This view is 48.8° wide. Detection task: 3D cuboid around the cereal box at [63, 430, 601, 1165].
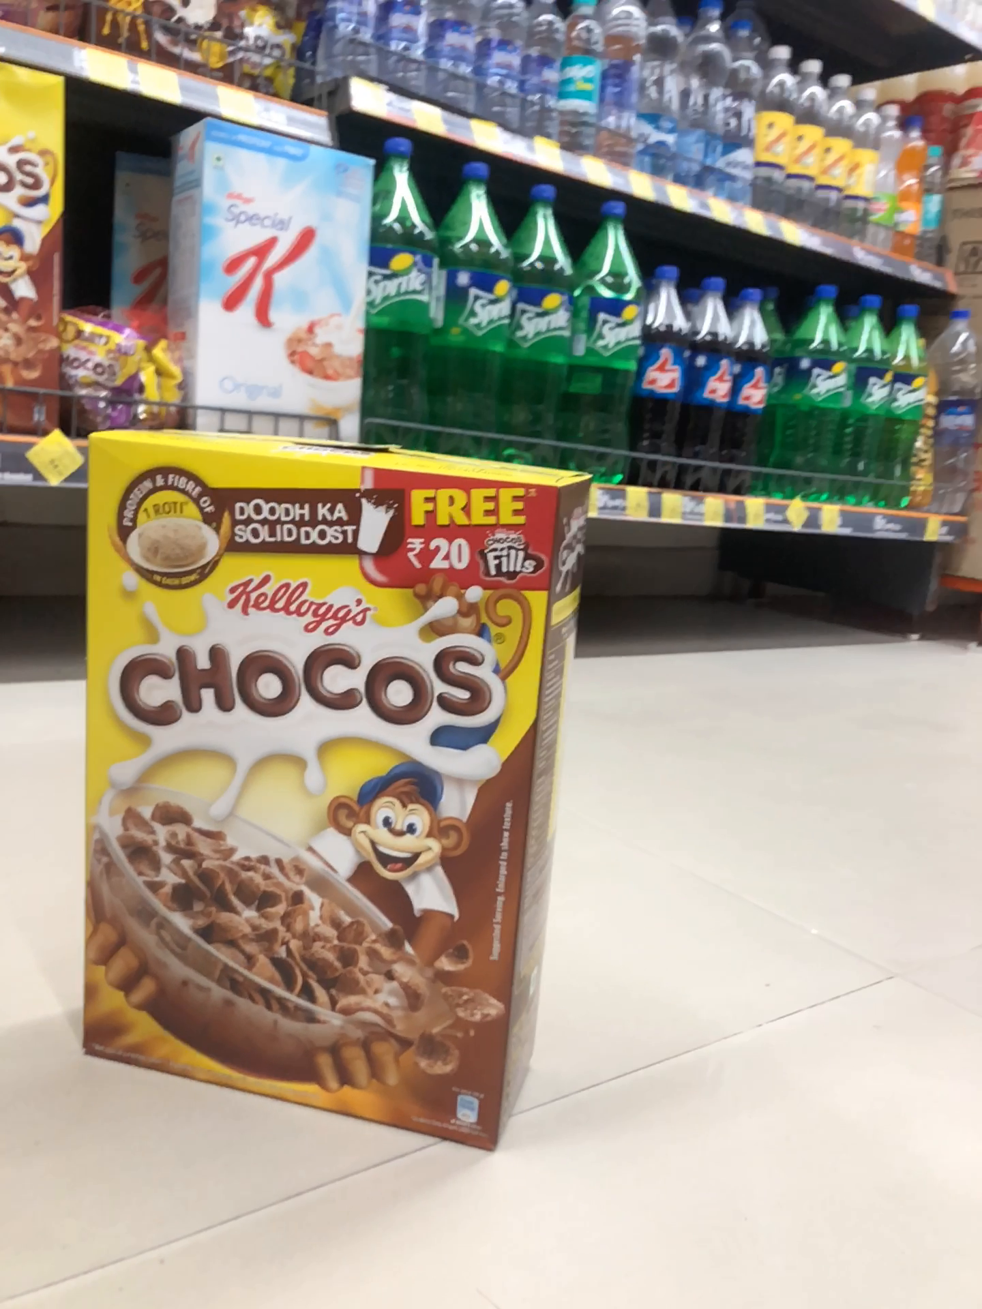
[{"bbox_3d":[-0.068,0.050,0.440,0.190,0.259,0.070,8,13,12],"label":"cereal box"}]
